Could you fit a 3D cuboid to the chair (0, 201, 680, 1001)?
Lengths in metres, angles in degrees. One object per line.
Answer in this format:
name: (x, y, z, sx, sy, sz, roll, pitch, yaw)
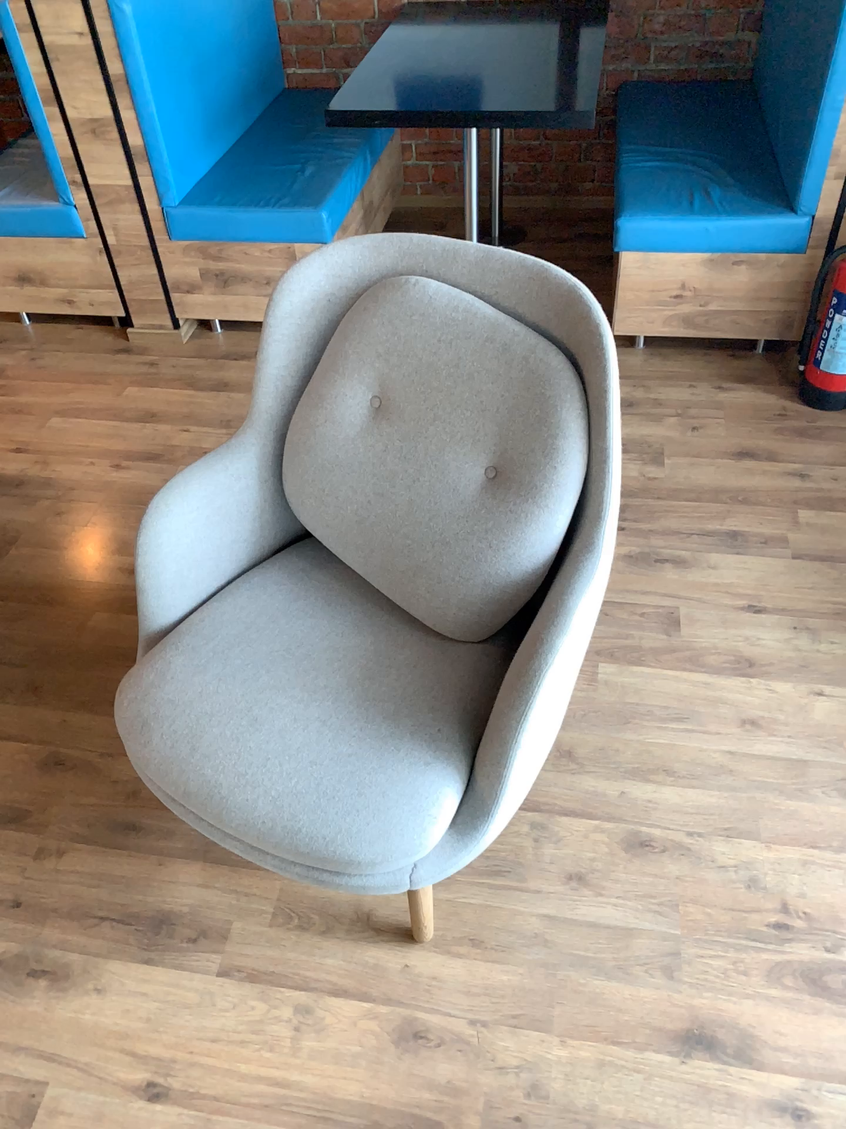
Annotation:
chair: (-0.113, 0.022, 1.383, 0.751, 0.833, 0.745, 16, 47, 20)
